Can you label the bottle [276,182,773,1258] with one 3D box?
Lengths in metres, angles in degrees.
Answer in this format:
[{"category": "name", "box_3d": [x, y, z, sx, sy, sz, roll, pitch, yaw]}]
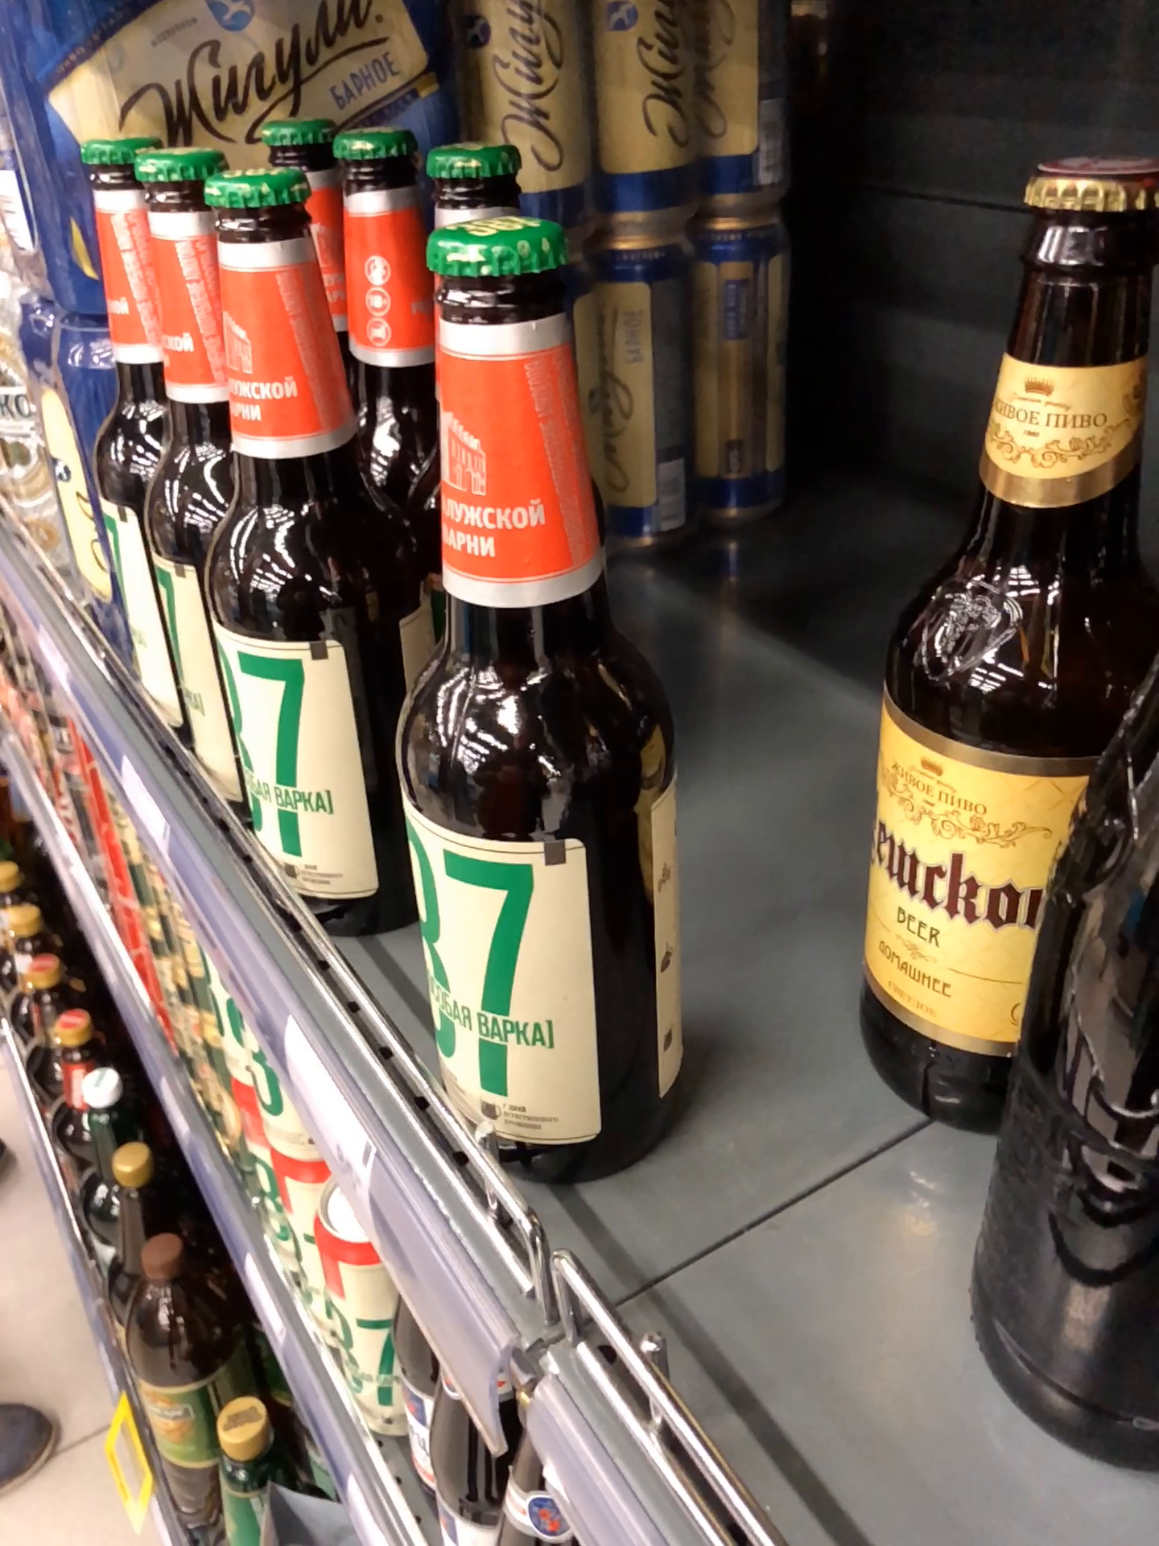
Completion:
[{"category": "bottle", "box_3d": [-0.009, -0.005, 0.299, 0.070, 0.229, 0.080, -14, 33, -17]}]
